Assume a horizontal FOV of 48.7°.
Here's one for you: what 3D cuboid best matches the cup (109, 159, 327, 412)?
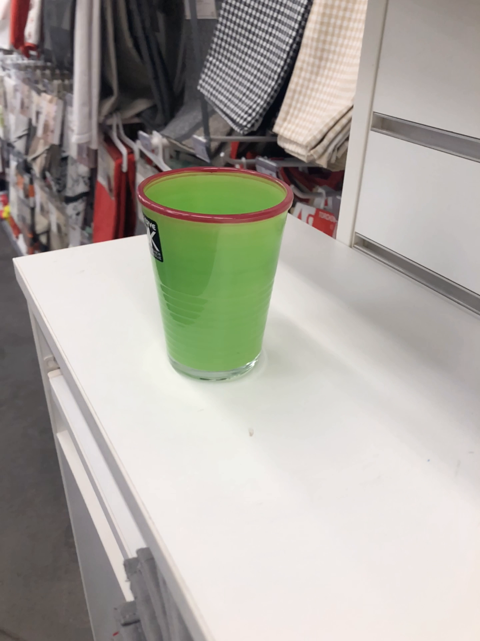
[{"bbox_3d":[-0.016,-0.025,0.288,0.082,0.098,0.086,1,30,-1],"label":"cup"}]
